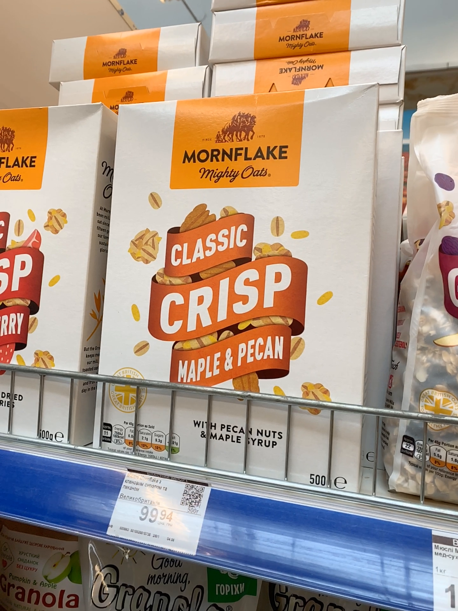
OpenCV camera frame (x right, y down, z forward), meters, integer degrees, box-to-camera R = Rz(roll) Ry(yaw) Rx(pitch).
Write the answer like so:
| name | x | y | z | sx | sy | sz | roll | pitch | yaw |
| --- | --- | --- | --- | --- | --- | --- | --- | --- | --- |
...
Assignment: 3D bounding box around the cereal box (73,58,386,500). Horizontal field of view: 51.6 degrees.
| name | x | y | z | sx | sy | sz | roll | pitch | yaw |
| --- | --- | --- | --- | --- | --- | --- | --- | --- | --- |
| cereal box | 0.001 | -0.021 | 0.325 | 0.190 | 0.250 | 0.060 | 3 | -2 | 18 |
